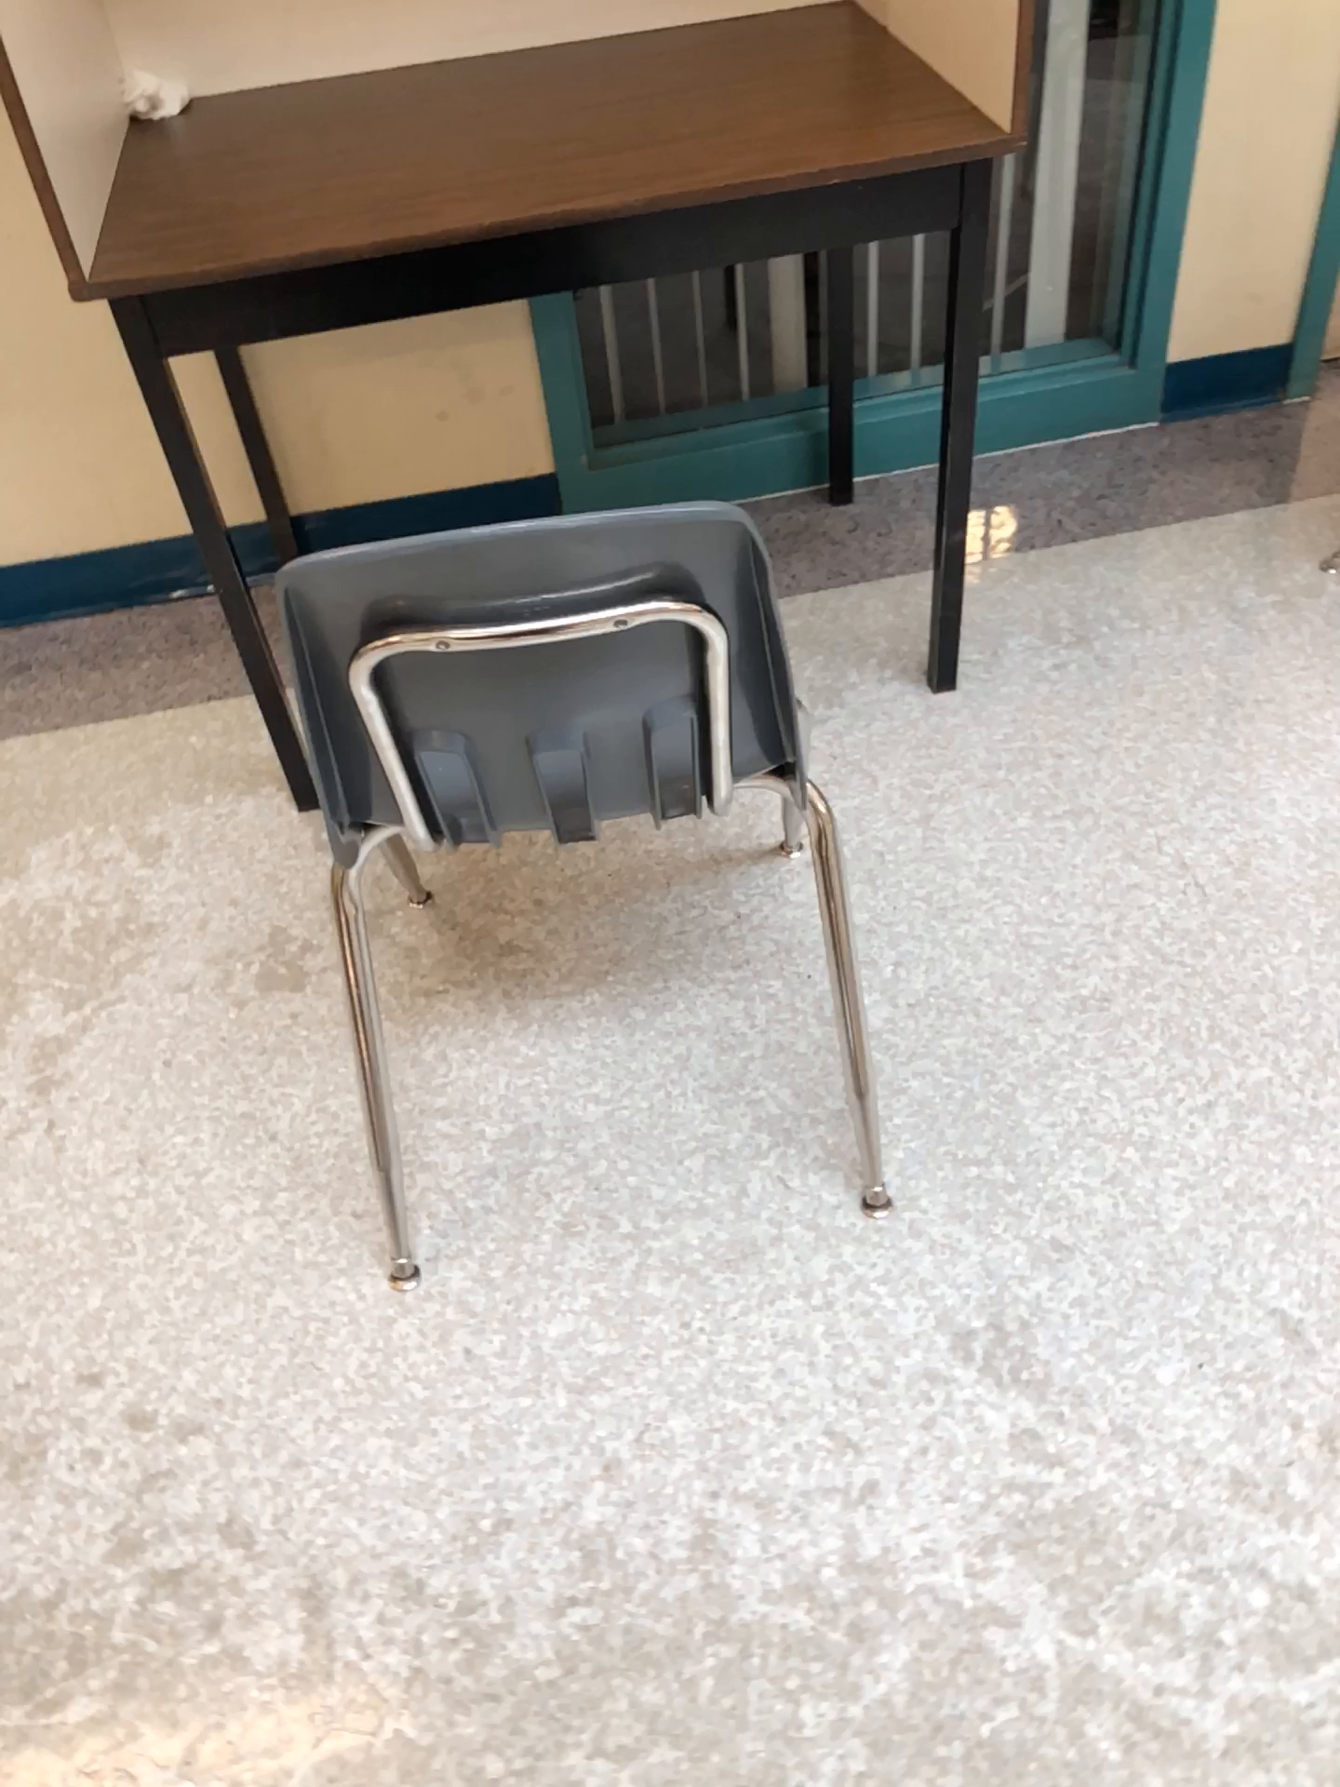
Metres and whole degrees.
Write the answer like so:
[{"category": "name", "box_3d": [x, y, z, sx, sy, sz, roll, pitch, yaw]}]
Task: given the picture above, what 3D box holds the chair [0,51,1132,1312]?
[{"category": "chair", "box_3d": [-0.069, -0.161, 1.163, 0.590, 0.695, 0.614, -7, 44, 0]}]
